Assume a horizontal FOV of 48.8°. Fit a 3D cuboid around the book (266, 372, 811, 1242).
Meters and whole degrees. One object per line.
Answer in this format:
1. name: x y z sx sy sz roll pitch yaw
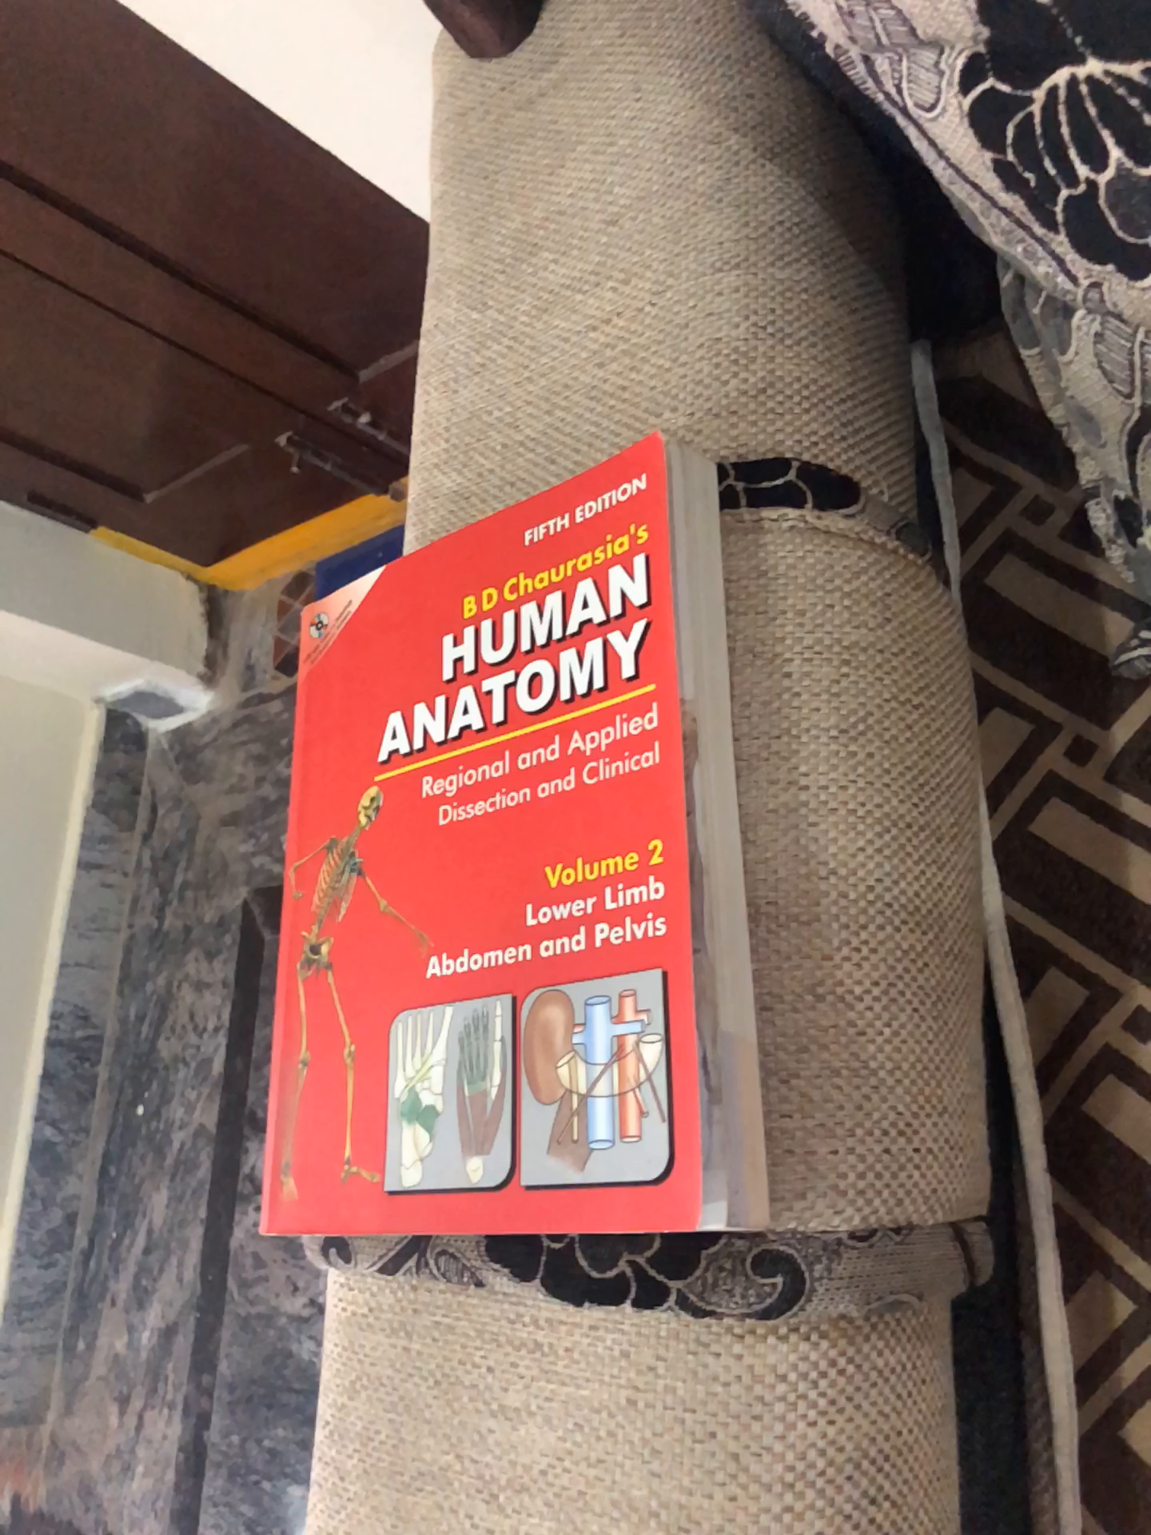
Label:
1. book: -0.026 0.026 0.486 0.221 0.040 0.290 -17 64 39
